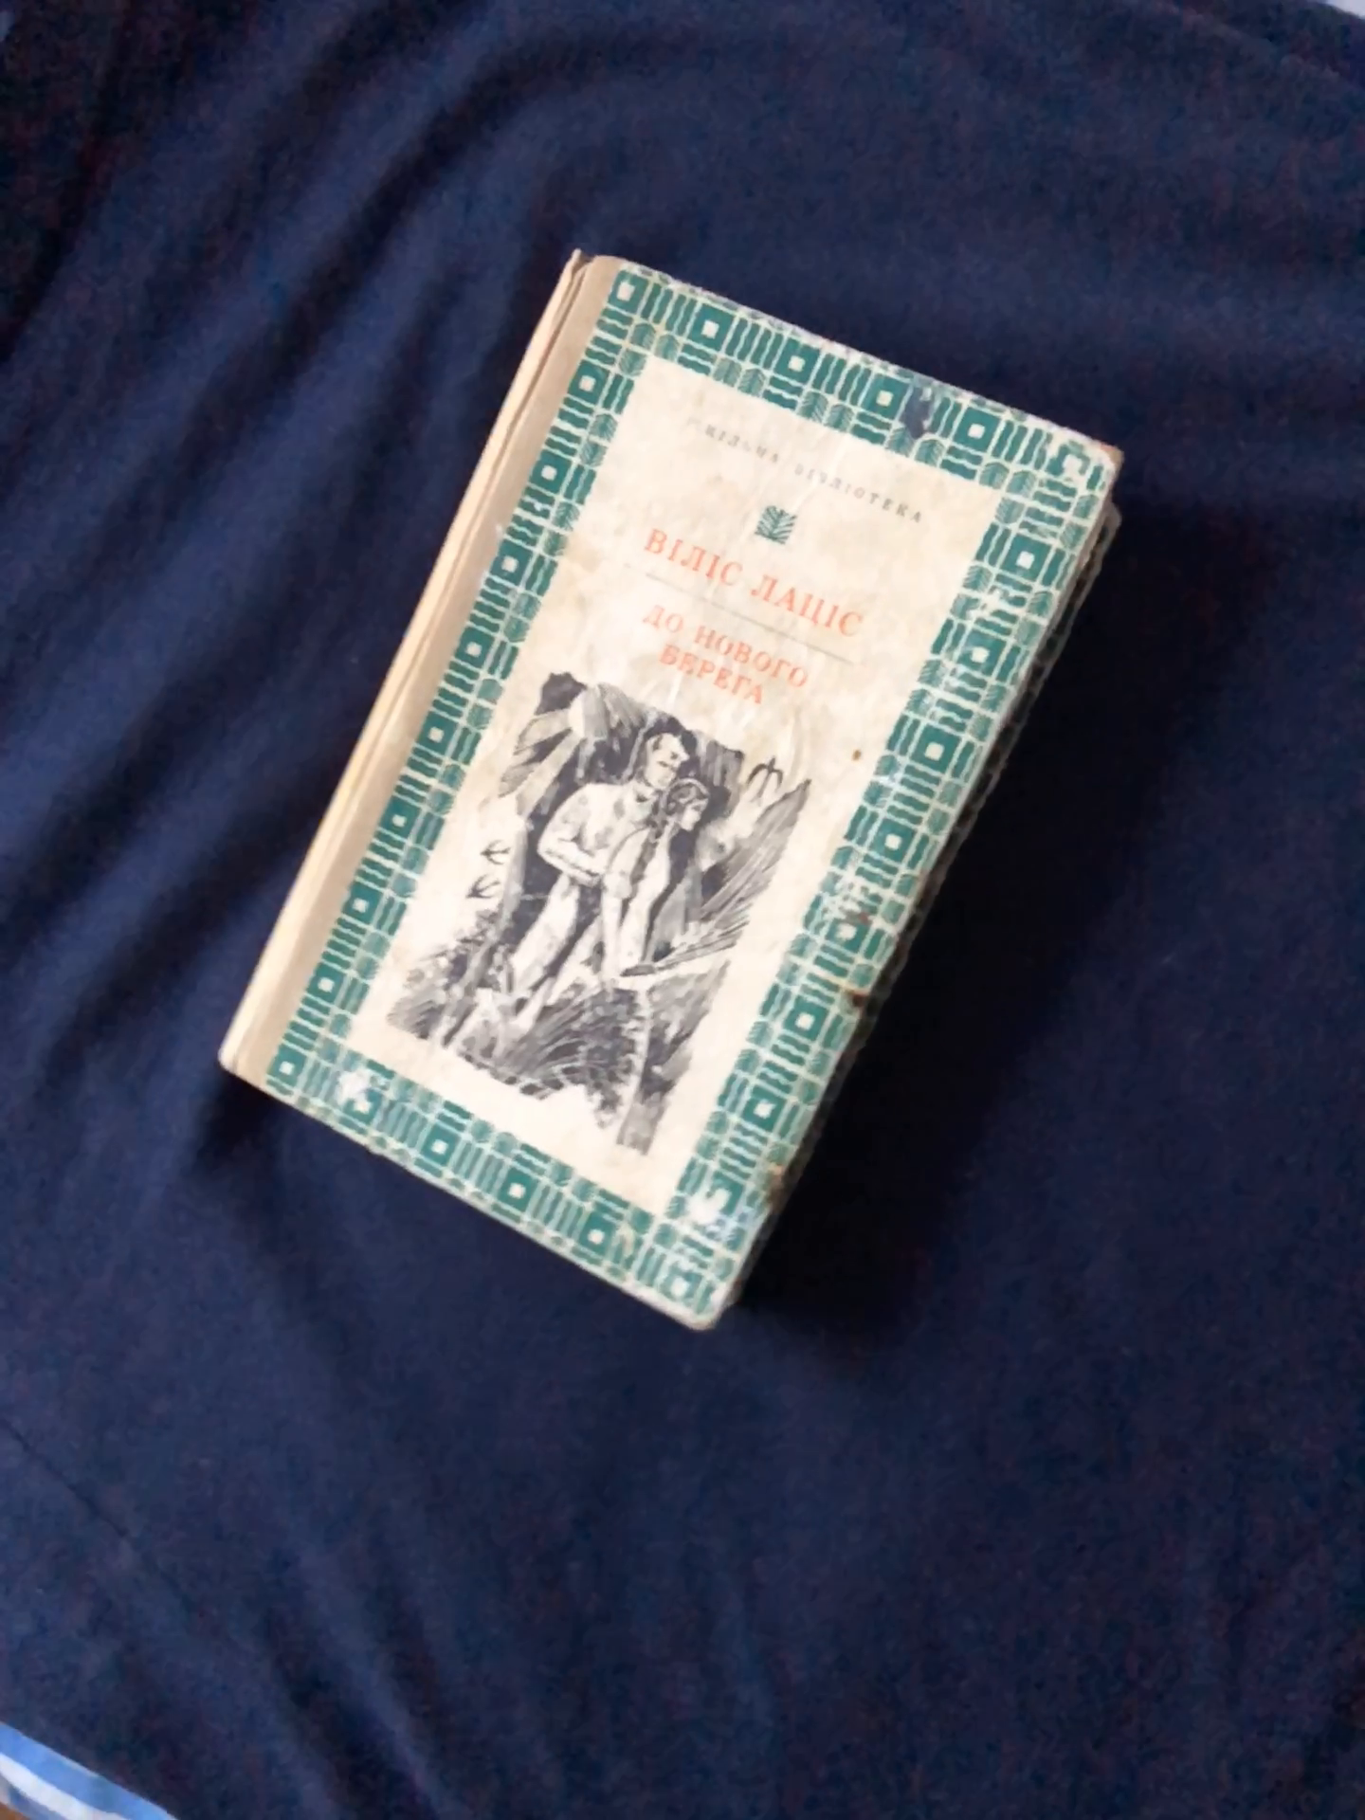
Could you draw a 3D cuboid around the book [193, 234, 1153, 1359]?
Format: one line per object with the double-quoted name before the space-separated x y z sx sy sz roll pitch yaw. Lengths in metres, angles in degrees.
"book" -0.004 -0.027 0.339 0.134 0.040 0.201 25 92 14
